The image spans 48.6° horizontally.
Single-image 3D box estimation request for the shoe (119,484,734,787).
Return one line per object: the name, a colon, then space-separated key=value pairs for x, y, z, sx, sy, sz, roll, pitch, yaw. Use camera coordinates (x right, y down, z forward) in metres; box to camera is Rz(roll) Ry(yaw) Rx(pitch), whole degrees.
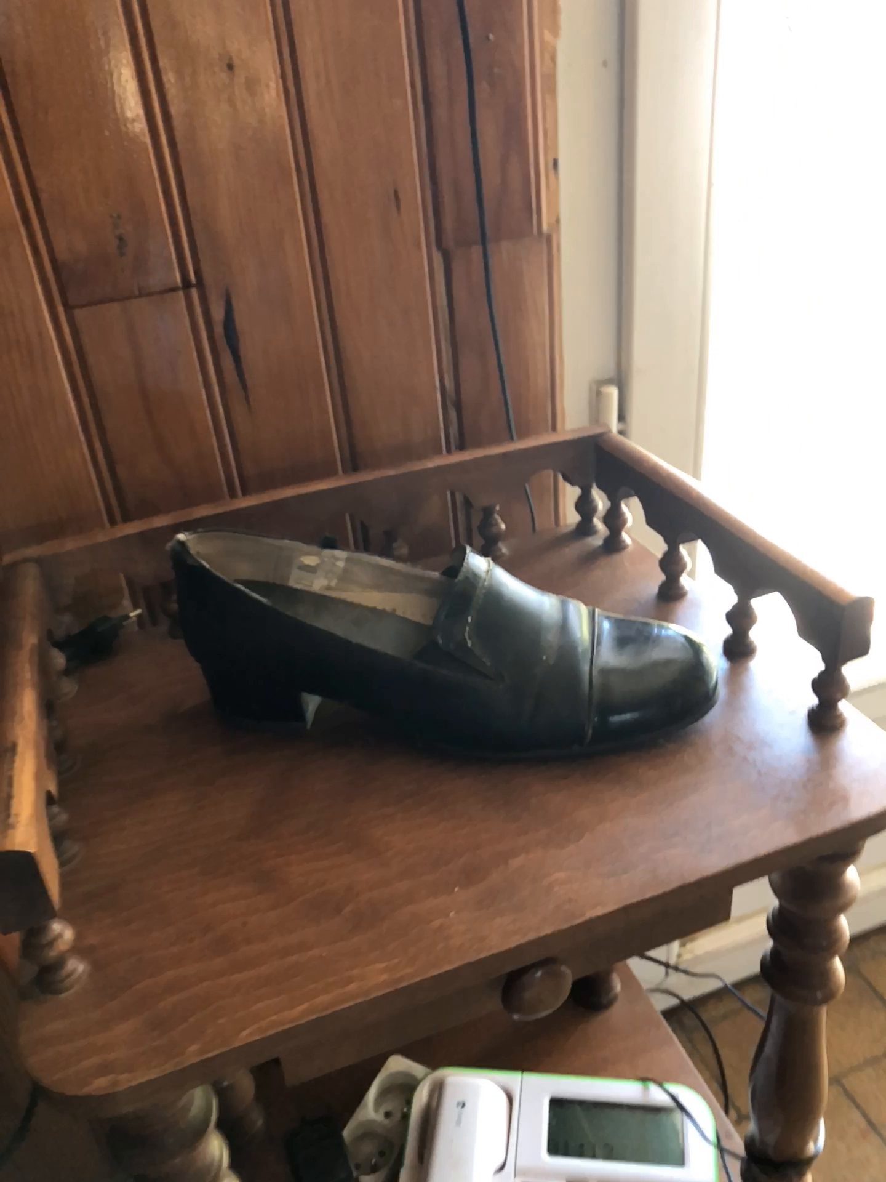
shoe: x=-0.001 y=0.013 z=0.466 sx=0.260 sy=0.089 sz=0.101 roll=2 pitch=31 yaw=14
